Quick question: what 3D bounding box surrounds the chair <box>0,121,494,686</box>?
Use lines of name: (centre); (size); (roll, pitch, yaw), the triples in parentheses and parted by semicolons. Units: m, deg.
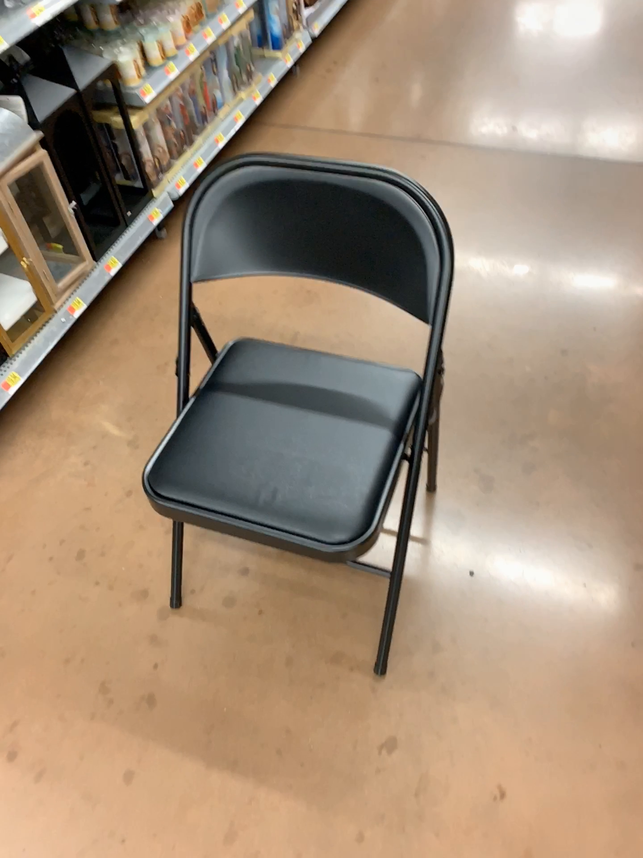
chair: (-0.050, -0.009, 1.037); (0.470, 0.697, 0.472); (13, 54, 16)
